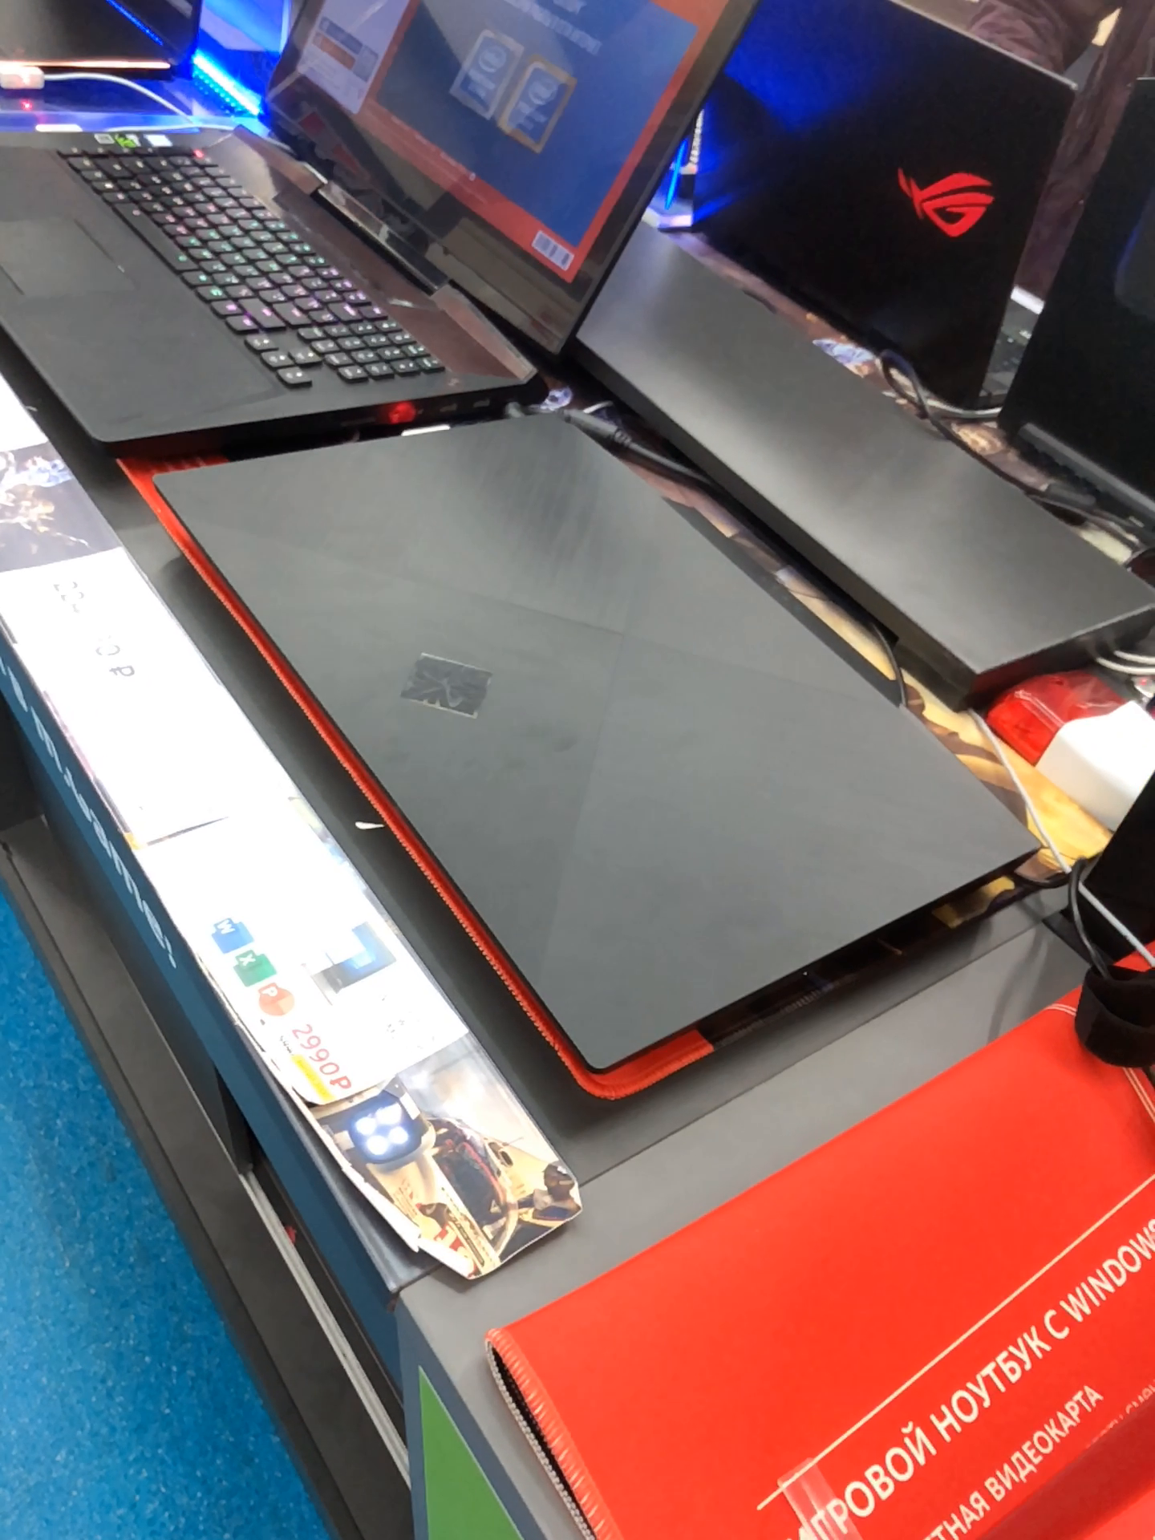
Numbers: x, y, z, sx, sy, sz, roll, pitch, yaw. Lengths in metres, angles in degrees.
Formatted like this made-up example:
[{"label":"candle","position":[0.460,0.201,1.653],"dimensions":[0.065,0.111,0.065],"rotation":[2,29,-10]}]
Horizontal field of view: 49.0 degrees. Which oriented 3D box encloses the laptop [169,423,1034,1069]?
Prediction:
[{"label":"laptop","position":[0.001,-0.057,0.631],"dimensions":[0.261,0.002,0.399],"rotation":[-18,52,-33]}]
